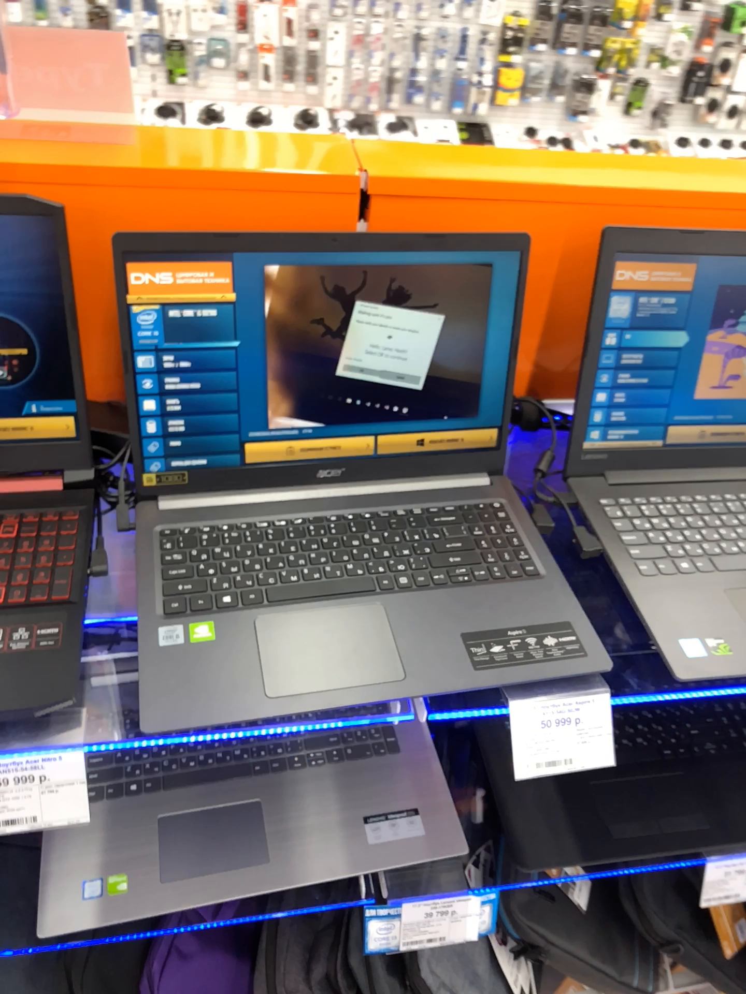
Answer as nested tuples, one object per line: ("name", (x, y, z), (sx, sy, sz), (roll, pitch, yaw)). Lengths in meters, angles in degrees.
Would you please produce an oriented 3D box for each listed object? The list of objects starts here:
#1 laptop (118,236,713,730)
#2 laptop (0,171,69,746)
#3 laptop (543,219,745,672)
("laptop", (-0.005, -0.037, 0.651), (0.353, 0.224, 0.304), (-4, 40, -14))
("laptop", (-0.391, -0.044, 0.572), (0.309, 0.231, 0.302), (-4, 40, -16))
("laptop", (0.403, -0.059, 0.730), (0.349, 0.230, 0.323), (-3, 41, -12))
